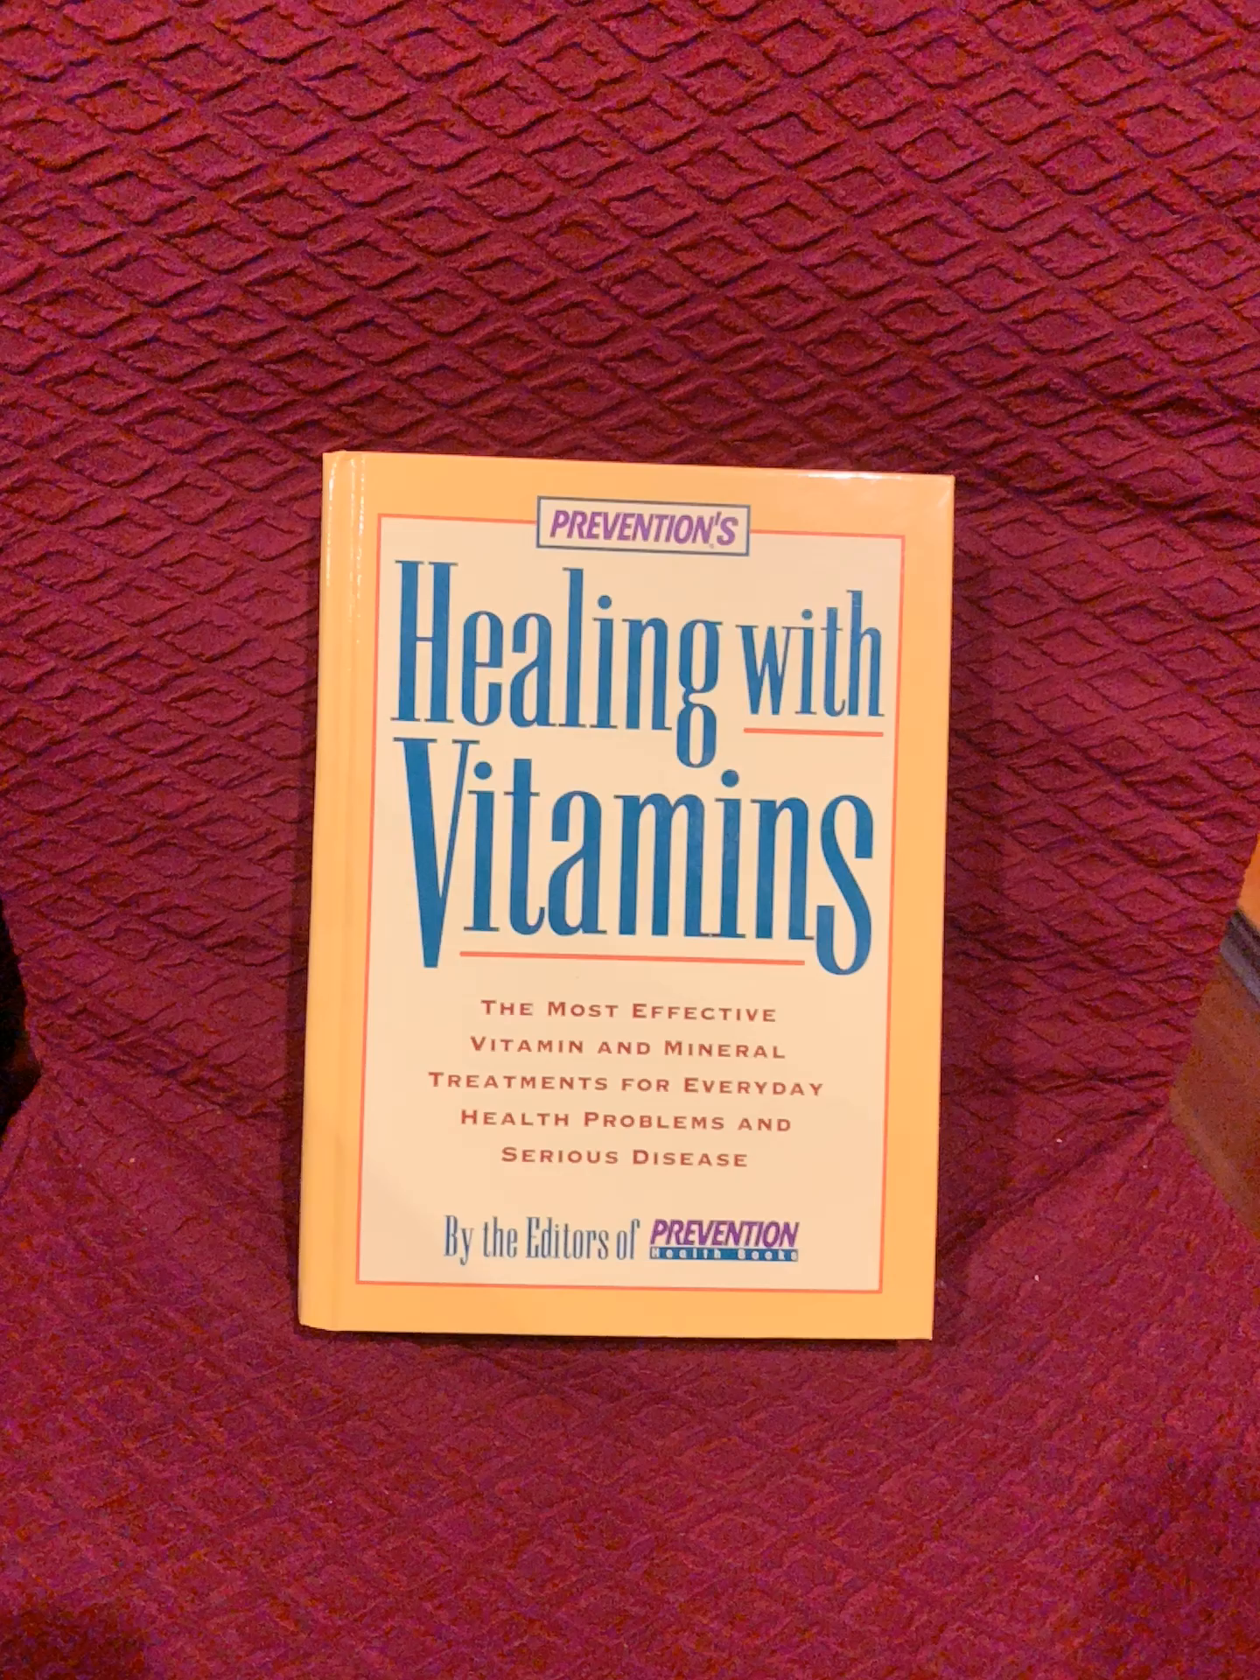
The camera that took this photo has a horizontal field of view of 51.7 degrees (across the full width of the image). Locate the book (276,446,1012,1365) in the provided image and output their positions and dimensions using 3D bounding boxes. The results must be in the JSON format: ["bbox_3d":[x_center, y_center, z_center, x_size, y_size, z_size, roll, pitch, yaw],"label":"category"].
[{"bbox_3d":[0.004,0.018,0.365,0.190,0.240,0.040,1,1,-2],"label":"book"}]
